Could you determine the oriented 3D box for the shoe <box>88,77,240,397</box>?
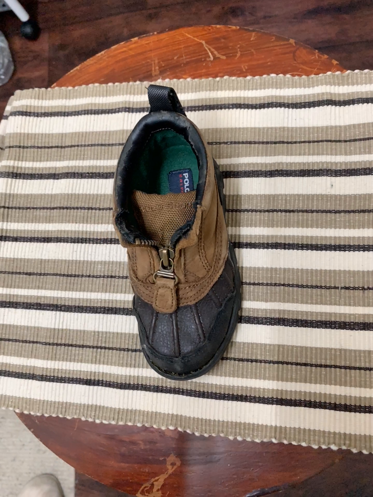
[{"bbox_3d":[-0.007,-0.005,0.264,0.080,0.090,0.180,-1,82,11],"label":"shoe"}]
